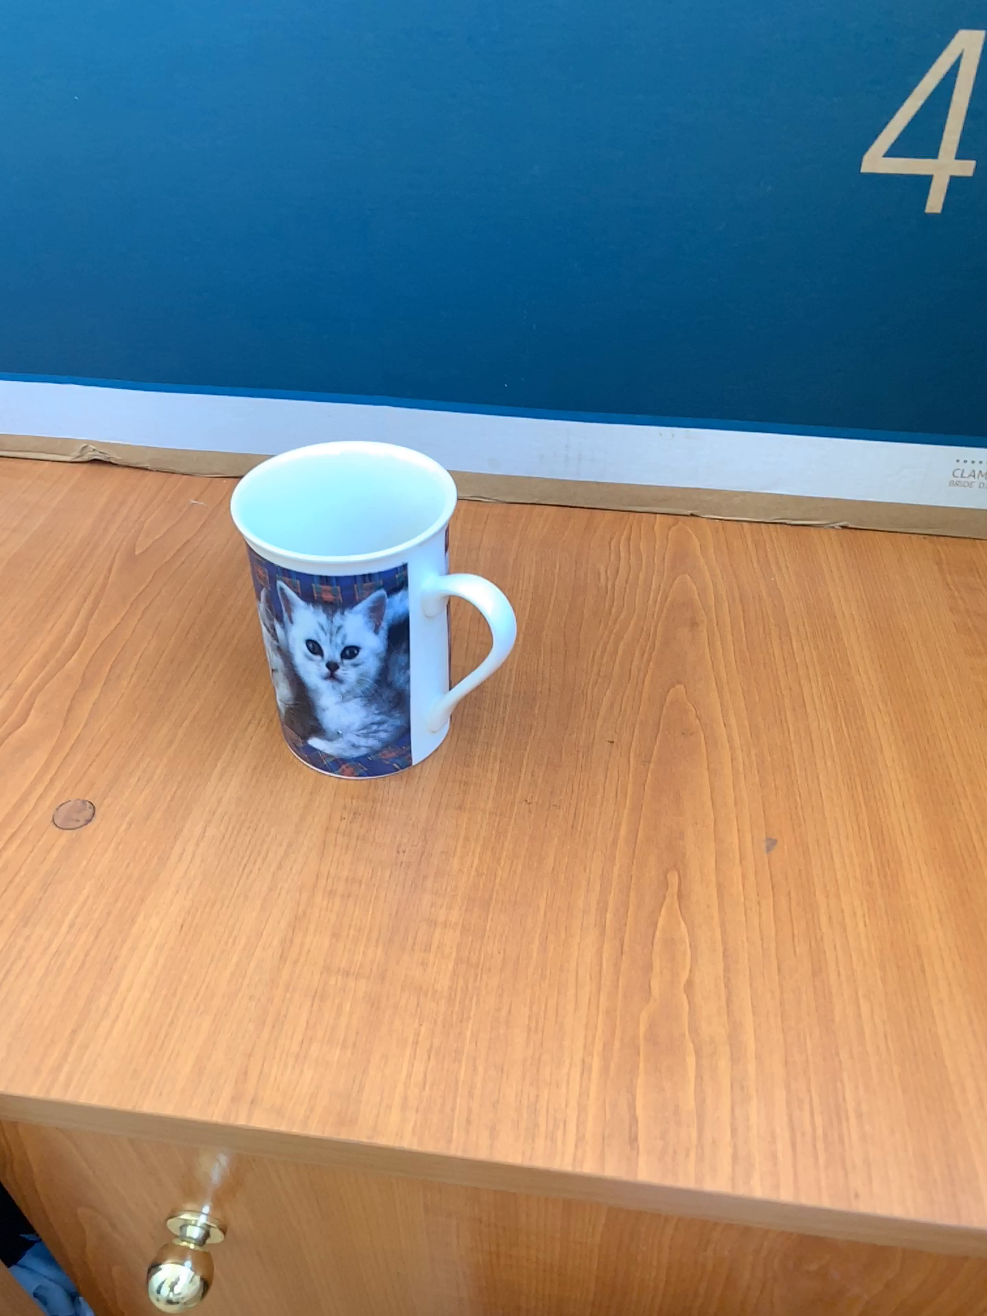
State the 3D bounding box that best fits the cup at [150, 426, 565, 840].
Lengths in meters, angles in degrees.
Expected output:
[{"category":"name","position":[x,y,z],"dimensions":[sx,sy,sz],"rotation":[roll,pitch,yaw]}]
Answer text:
[{"category":"cup","position":[-0.040,-0.011,0.358],"dimensions":[0.110,0.100,0.080],"rotation":[12,41,15]}]
